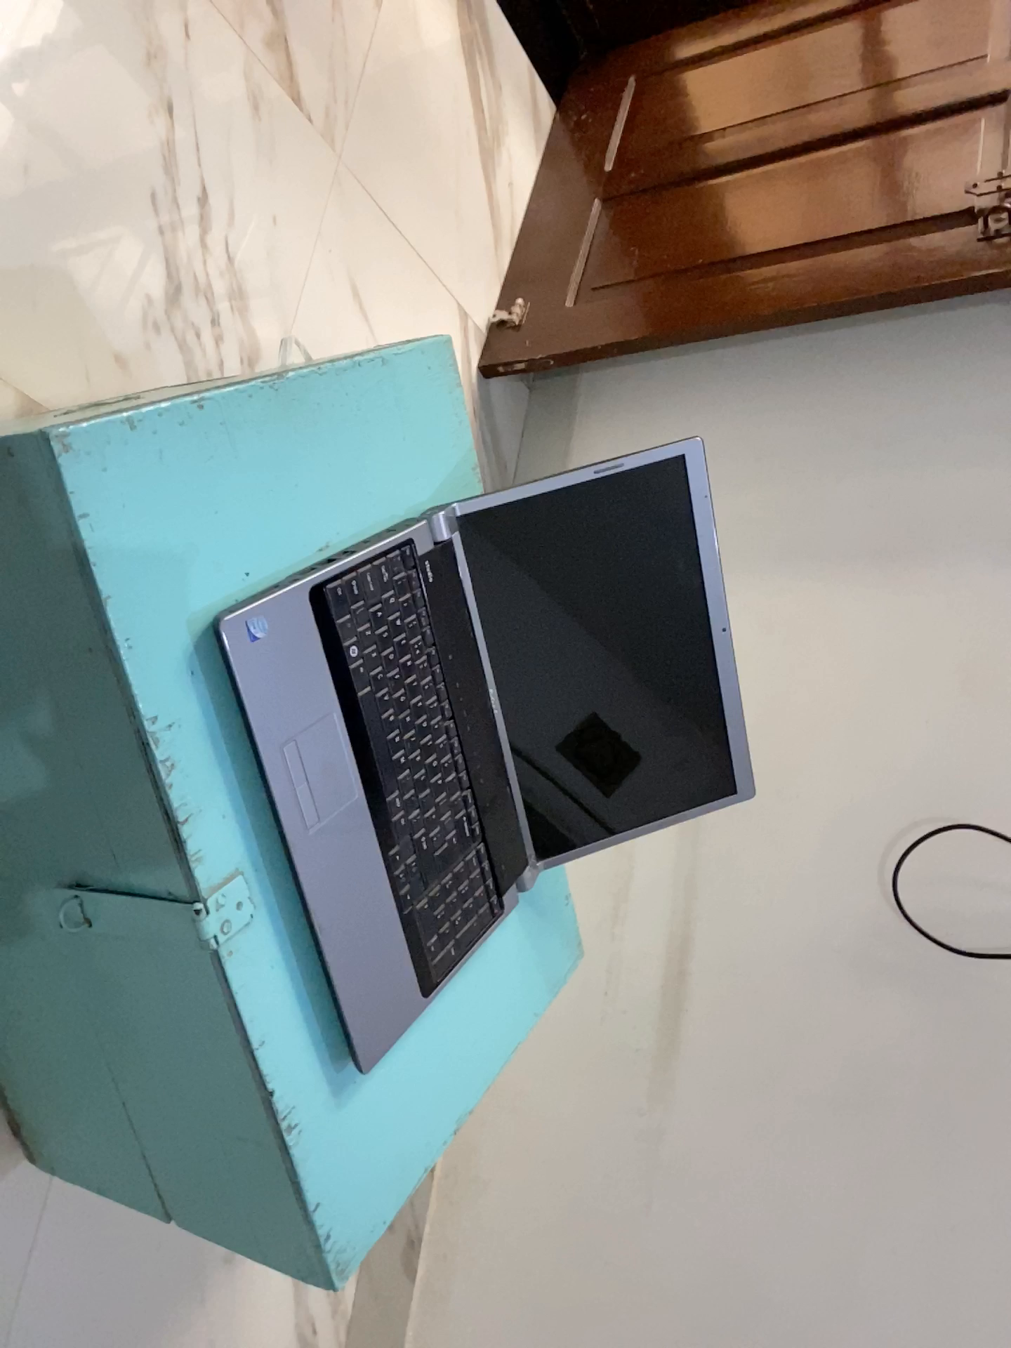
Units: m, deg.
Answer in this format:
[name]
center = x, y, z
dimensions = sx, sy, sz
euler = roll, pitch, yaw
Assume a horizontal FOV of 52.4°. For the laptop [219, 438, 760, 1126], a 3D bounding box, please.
[laptop]
center = 0.040, 0.051, 0.906
dimensions = 0.480, 0.178, 0.389
euler = -39, 122, -51
